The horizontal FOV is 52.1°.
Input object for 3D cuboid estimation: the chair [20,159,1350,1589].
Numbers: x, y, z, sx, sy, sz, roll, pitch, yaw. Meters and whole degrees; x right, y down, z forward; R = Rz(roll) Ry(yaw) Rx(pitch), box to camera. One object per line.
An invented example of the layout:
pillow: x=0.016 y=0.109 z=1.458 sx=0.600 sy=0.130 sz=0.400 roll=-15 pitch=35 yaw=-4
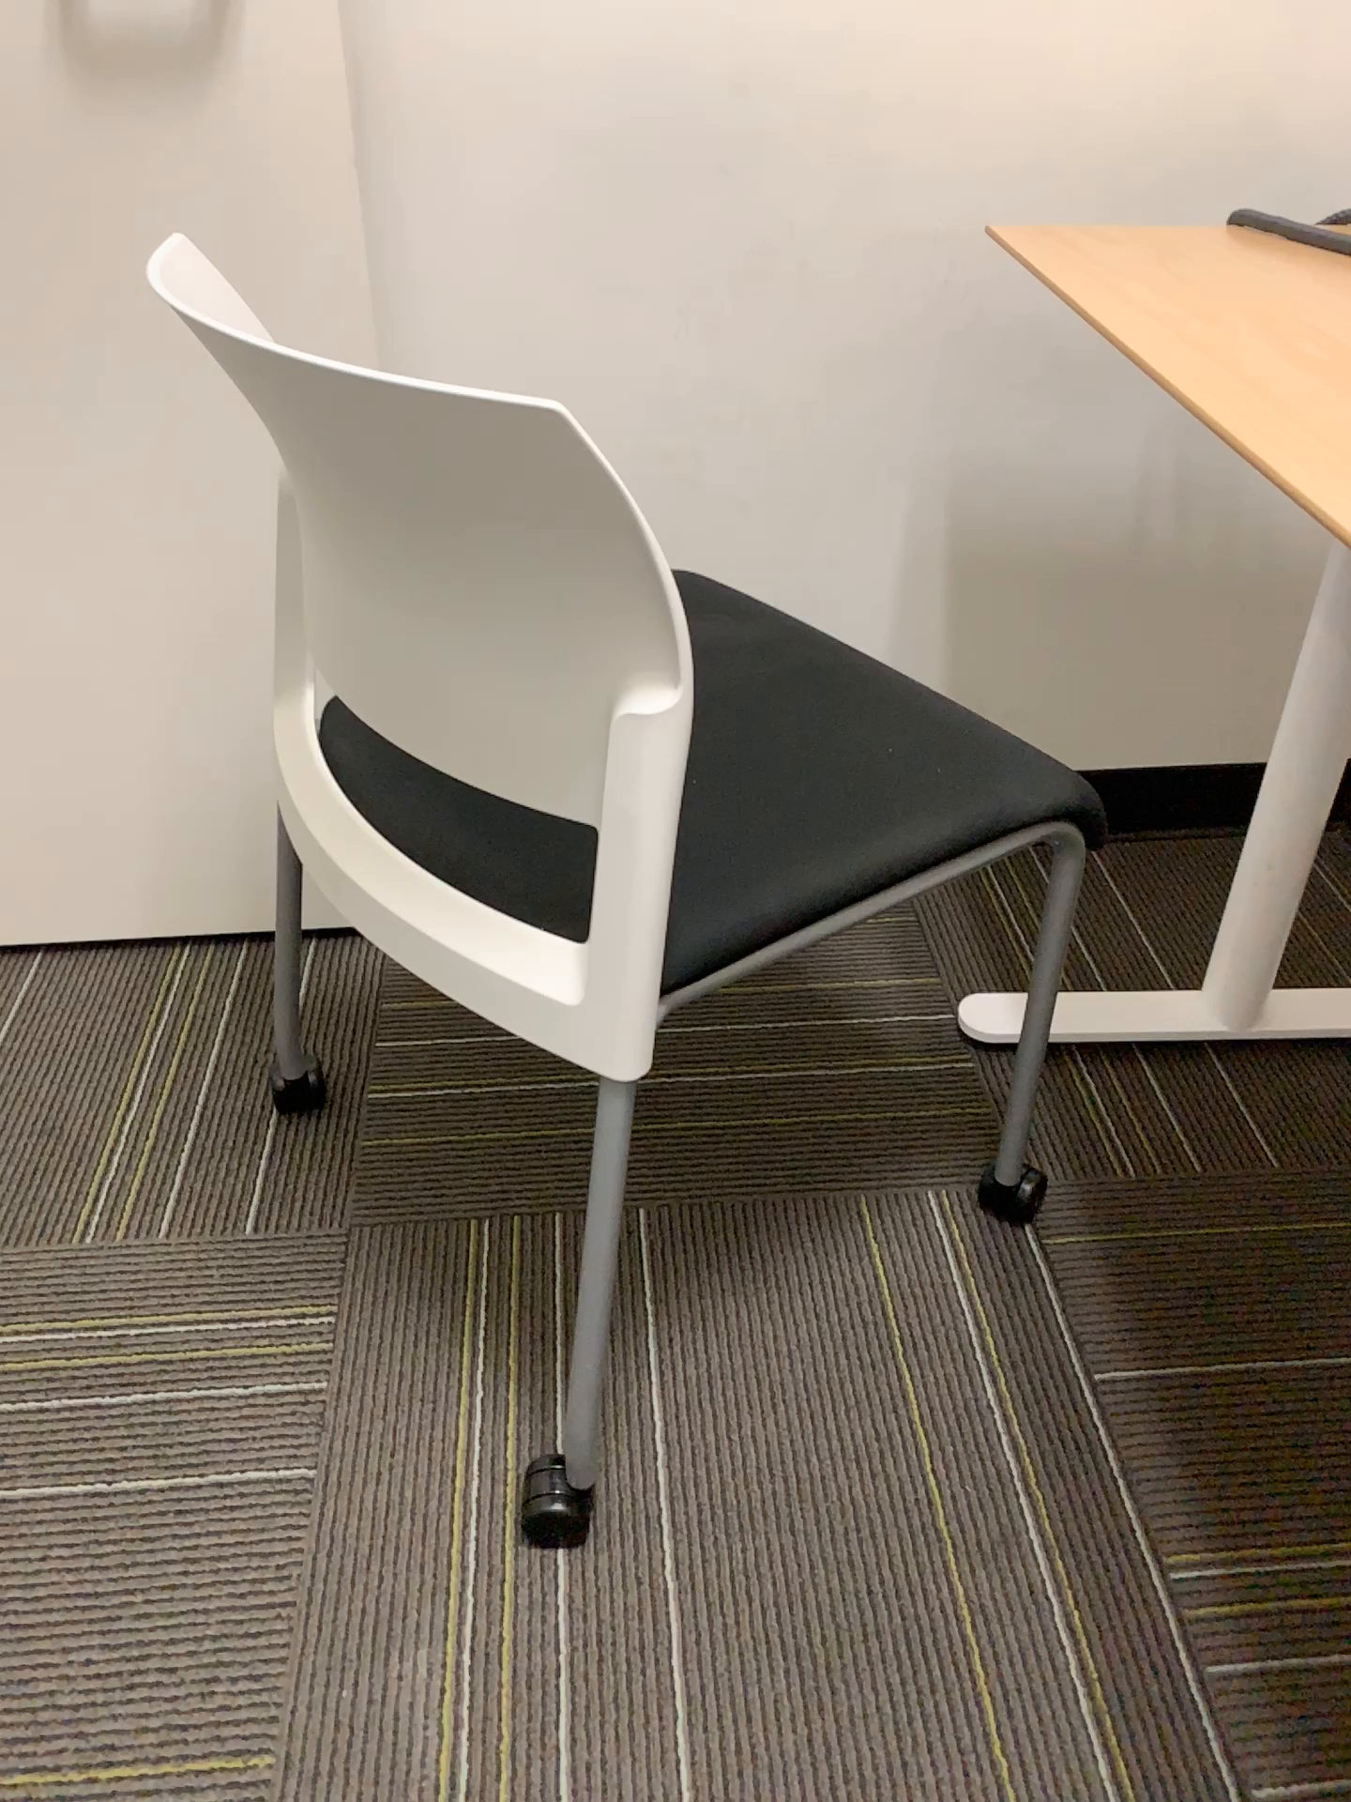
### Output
chair: x=-0.030 y=-0.083 z=1.058 sx=0.580 sy=0.755 sz=0.613 roll=-20 pitch=41 yaw=-27
